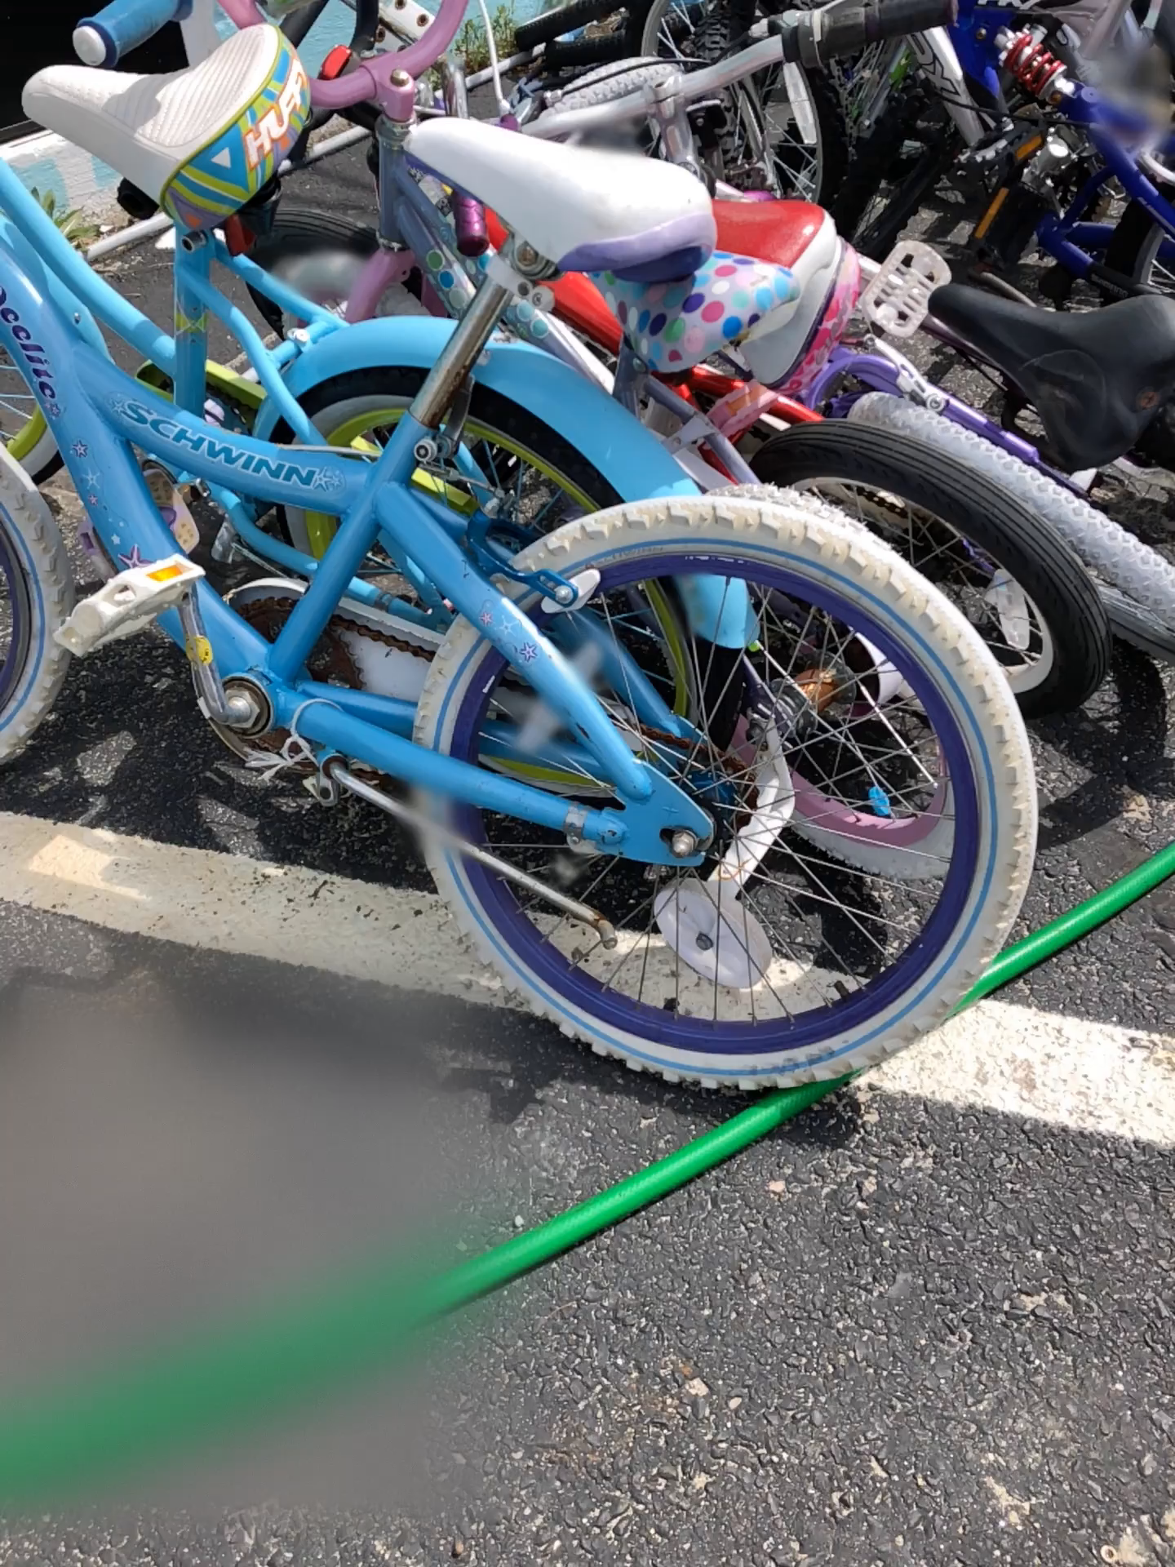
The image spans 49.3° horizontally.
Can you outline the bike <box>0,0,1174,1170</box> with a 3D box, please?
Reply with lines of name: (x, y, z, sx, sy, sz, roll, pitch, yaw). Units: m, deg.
bike: (-0.263, -0.337, 0.939, 1.265, 0.777, 0.558, 13, 45, 8)
